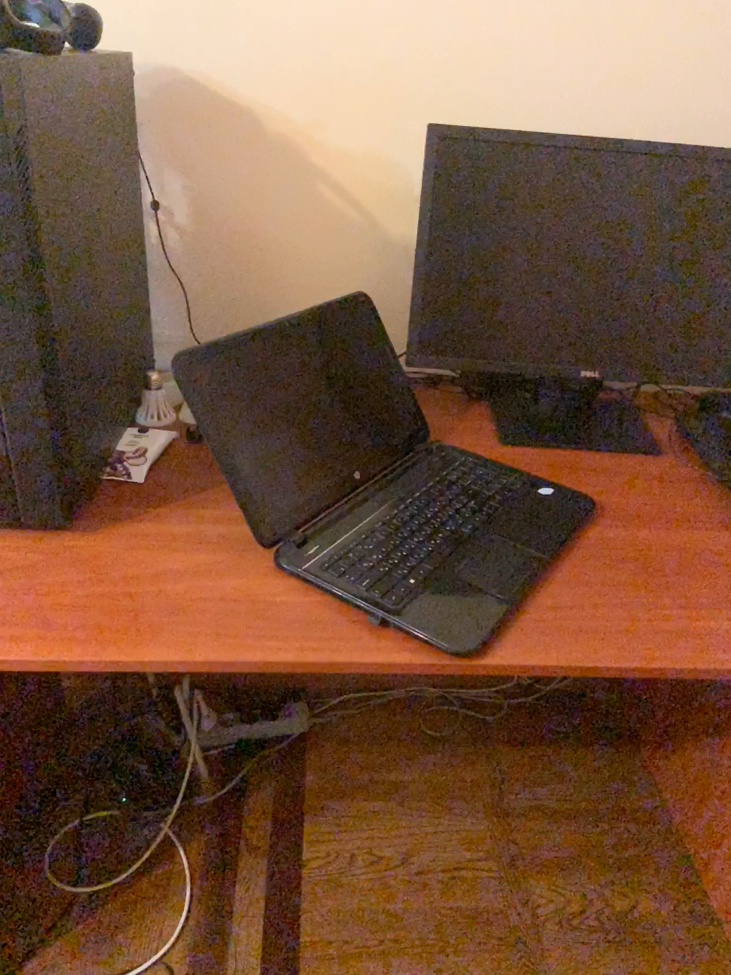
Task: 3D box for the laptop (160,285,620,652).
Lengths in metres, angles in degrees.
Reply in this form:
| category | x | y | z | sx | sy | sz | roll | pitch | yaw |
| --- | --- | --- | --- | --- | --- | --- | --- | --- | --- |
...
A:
| category | x | y | z | sx | sy | sz | roll | pitch | yaw |
| --- | --- | --- | --- | --- | --- | --- | --- | --- | --- |
| laptop | 0.034 | -0.060 | 0.809 | 0.358 | 0.168 | 0.333 | 24 | 35 | 25 |
